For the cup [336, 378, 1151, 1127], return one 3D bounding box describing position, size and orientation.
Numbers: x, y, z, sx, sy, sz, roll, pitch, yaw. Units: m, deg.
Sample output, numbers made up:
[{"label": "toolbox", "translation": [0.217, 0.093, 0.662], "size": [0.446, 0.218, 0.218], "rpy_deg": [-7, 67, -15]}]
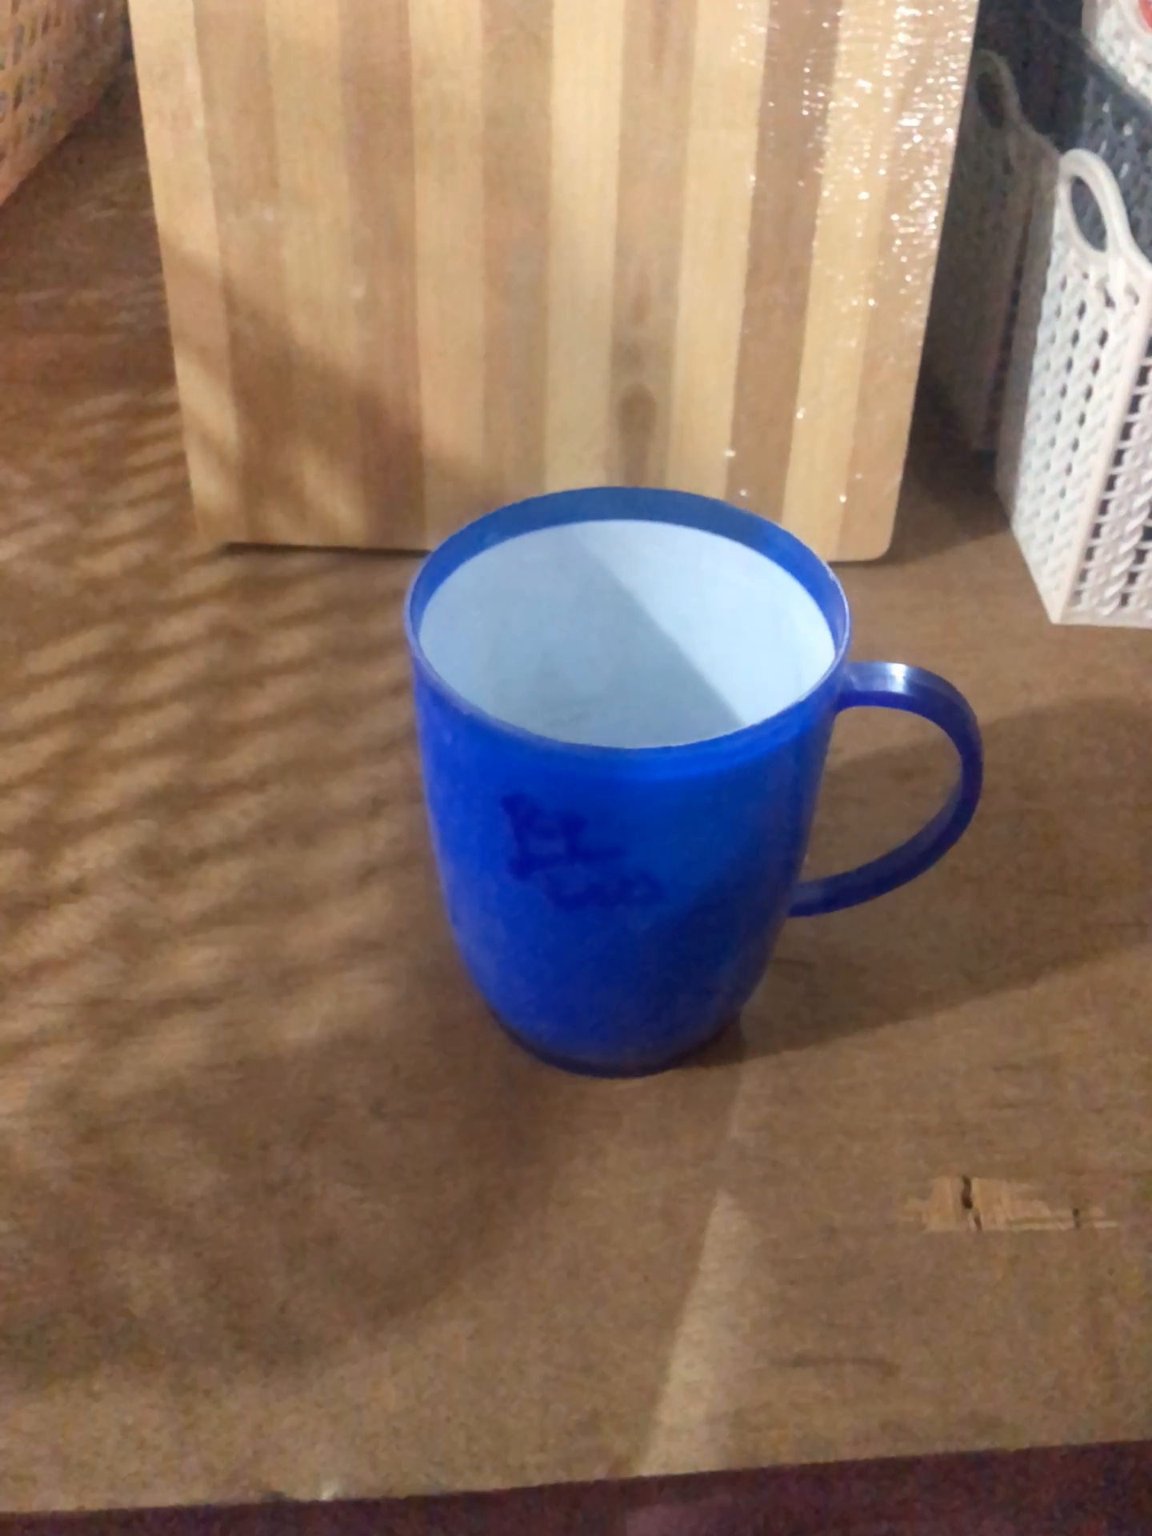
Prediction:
[{"label": "cup", "translation": [0.026, 0.000, 0.232], "size": [0.110, 0.109, 0.070], "rpy_deg": [4, 44, 4]}]
